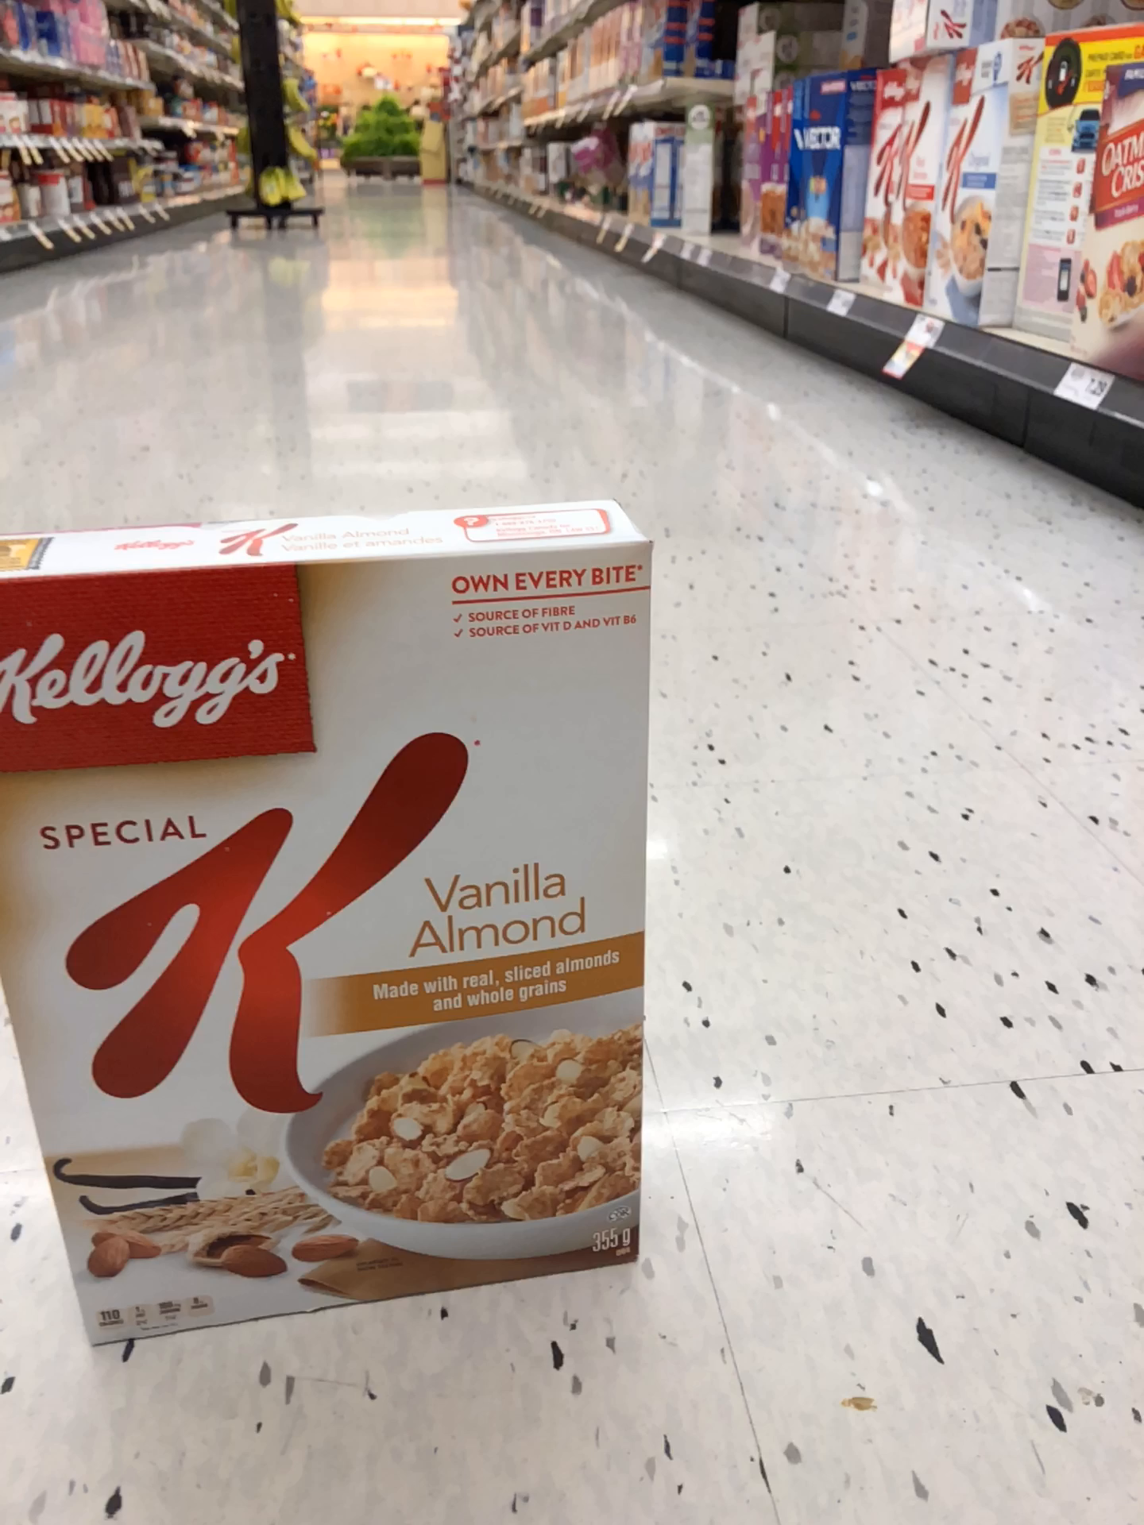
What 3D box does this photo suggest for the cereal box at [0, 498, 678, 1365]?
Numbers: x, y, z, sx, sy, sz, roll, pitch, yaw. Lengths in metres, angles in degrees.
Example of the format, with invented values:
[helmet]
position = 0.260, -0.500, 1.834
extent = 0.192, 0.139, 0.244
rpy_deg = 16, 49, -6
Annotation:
[cereal box]
position = -0.074, 0.057, 0.393
extent = 0.200, 0.259, 0.050
rpy_deg = -5, 24, -10
